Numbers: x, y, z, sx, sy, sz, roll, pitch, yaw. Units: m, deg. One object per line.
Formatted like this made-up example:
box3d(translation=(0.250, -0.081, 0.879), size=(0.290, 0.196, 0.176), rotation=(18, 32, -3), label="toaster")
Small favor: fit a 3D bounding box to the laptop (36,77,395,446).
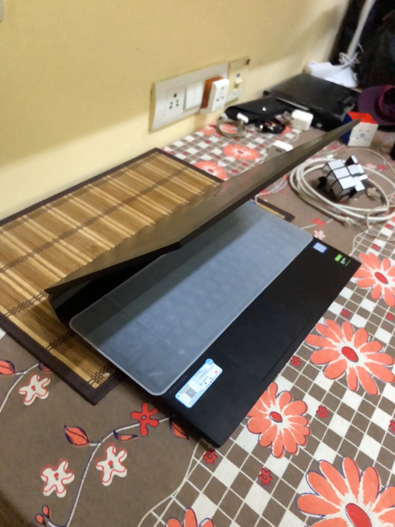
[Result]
box3d(translation=(0.051, -0.042, 0.504), size=(0.236, 0.164, 0.357), rotation=(35, 48, 20), label="laptop")
